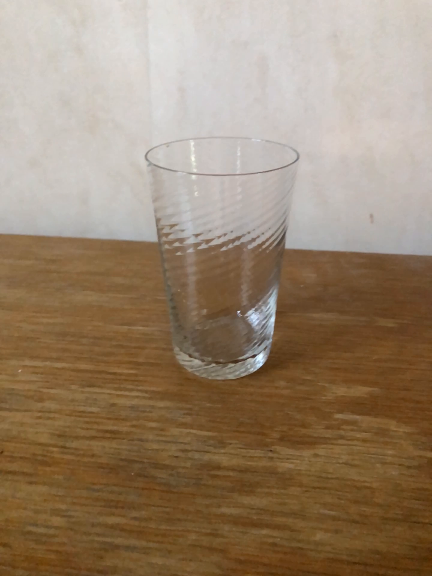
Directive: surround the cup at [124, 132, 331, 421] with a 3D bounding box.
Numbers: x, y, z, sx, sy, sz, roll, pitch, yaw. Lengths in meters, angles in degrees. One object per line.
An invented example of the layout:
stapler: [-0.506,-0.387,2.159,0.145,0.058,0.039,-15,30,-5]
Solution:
cup: [0.009,-0.012,0.257,0.070,0.119,0.081,14,30,24]
